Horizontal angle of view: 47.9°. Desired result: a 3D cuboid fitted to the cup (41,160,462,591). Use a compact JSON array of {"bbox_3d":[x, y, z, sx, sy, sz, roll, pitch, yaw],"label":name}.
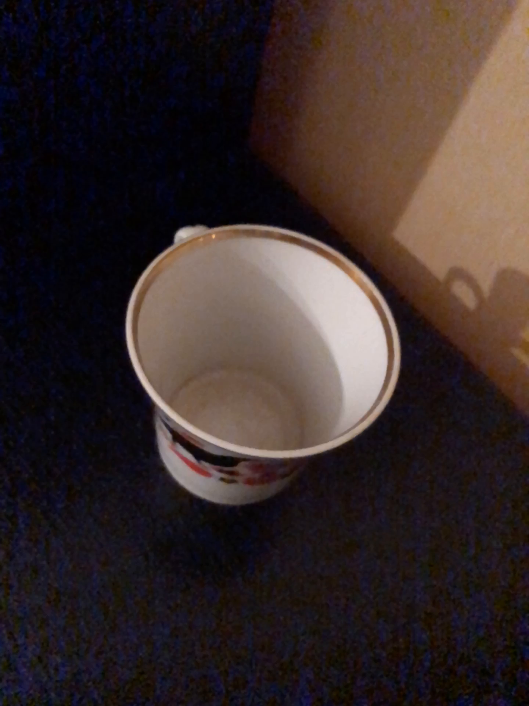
[{"bbox_3d":[-0.013,0.008,0.254,0.102,0.092,0.125,-27,69,-26],"label":"cup"}]
